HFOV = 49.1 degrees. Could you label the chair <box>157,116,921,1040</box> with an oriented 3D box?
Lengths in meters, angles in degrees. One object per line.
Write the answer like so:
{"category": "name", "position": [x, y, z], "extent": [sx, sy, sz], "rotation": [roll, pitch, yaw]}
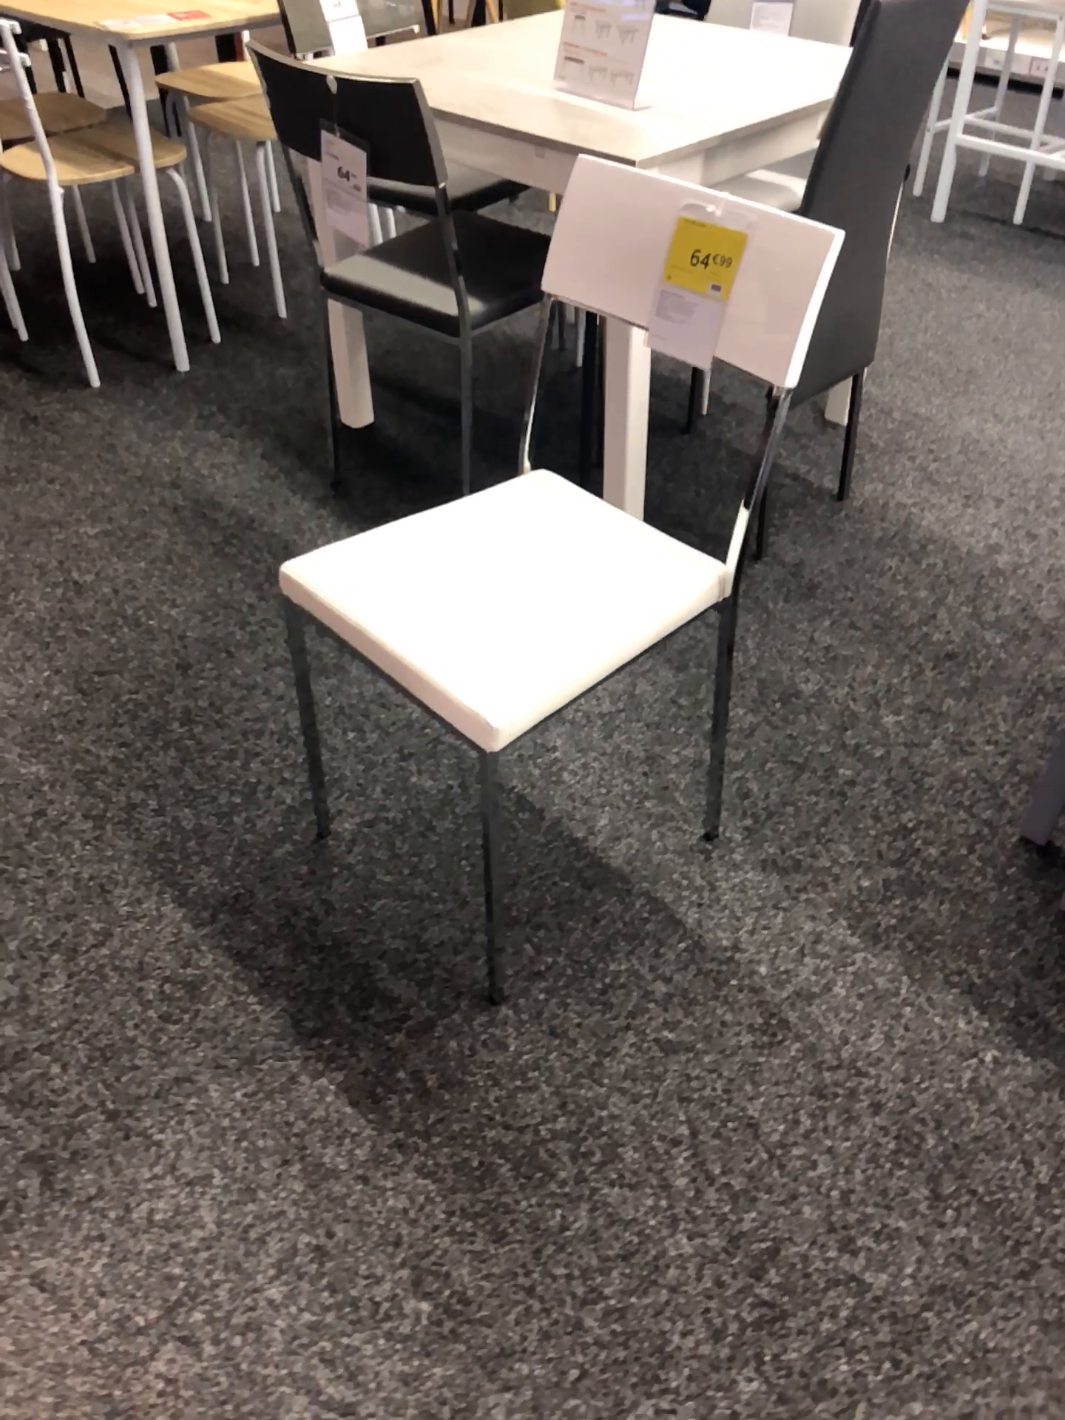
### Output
{"category": "chair", "position": [0.010, -0.166, 1.382], "extent": [0.543, 0.815, 0.501], "rotation": [-31, 49, -32]}
